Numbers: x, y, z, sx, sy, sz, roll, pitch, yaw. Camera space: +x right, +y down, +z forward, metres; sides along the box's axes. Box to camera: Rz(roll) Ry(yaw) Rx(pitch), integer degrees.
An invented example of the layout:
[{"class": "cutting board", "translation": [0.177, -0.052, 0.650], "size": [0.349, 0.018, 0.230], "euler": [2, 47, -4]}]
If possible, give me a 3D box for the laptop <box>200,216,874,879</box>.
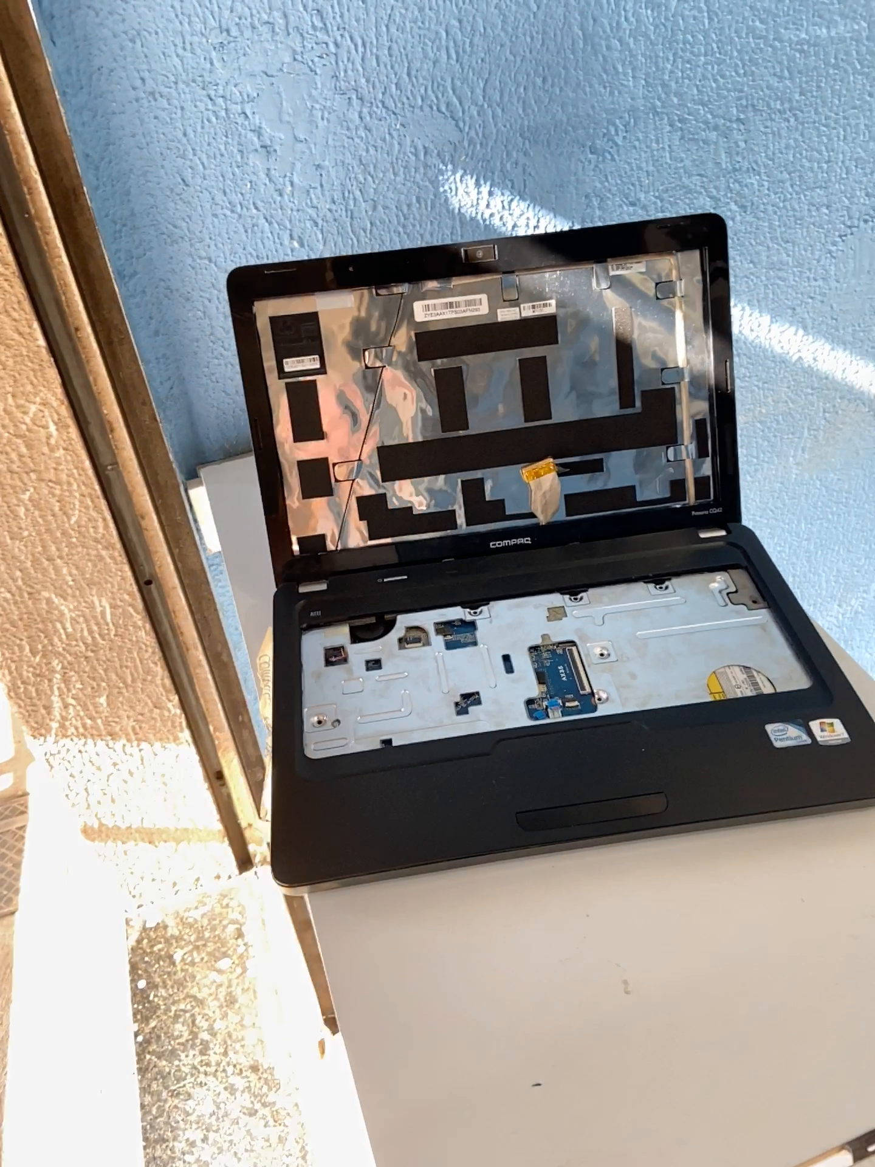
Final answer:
[{"class": "laptop", "translation": [0.057, -0.049, 0.543], "size": [0.331, 0.182, 0.337], "euler": [-8, 42, -3]}]
